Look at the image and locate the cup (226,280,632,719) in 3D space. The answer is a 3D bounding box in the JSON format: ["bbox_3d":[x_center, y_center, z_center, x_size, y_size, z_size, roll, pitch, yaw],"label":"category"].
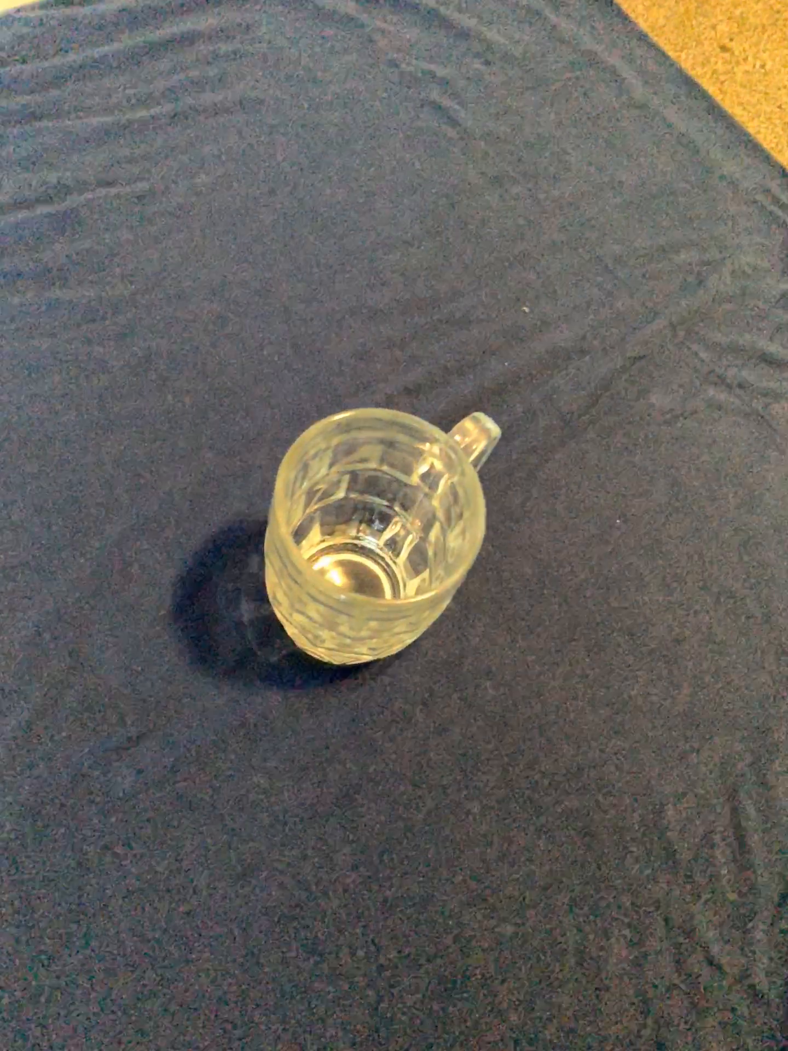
[{"bbox_3d":[0.007,-0.005,0.320,0.080,0.110,0.120,42,65,9],"label":"cup"}]
